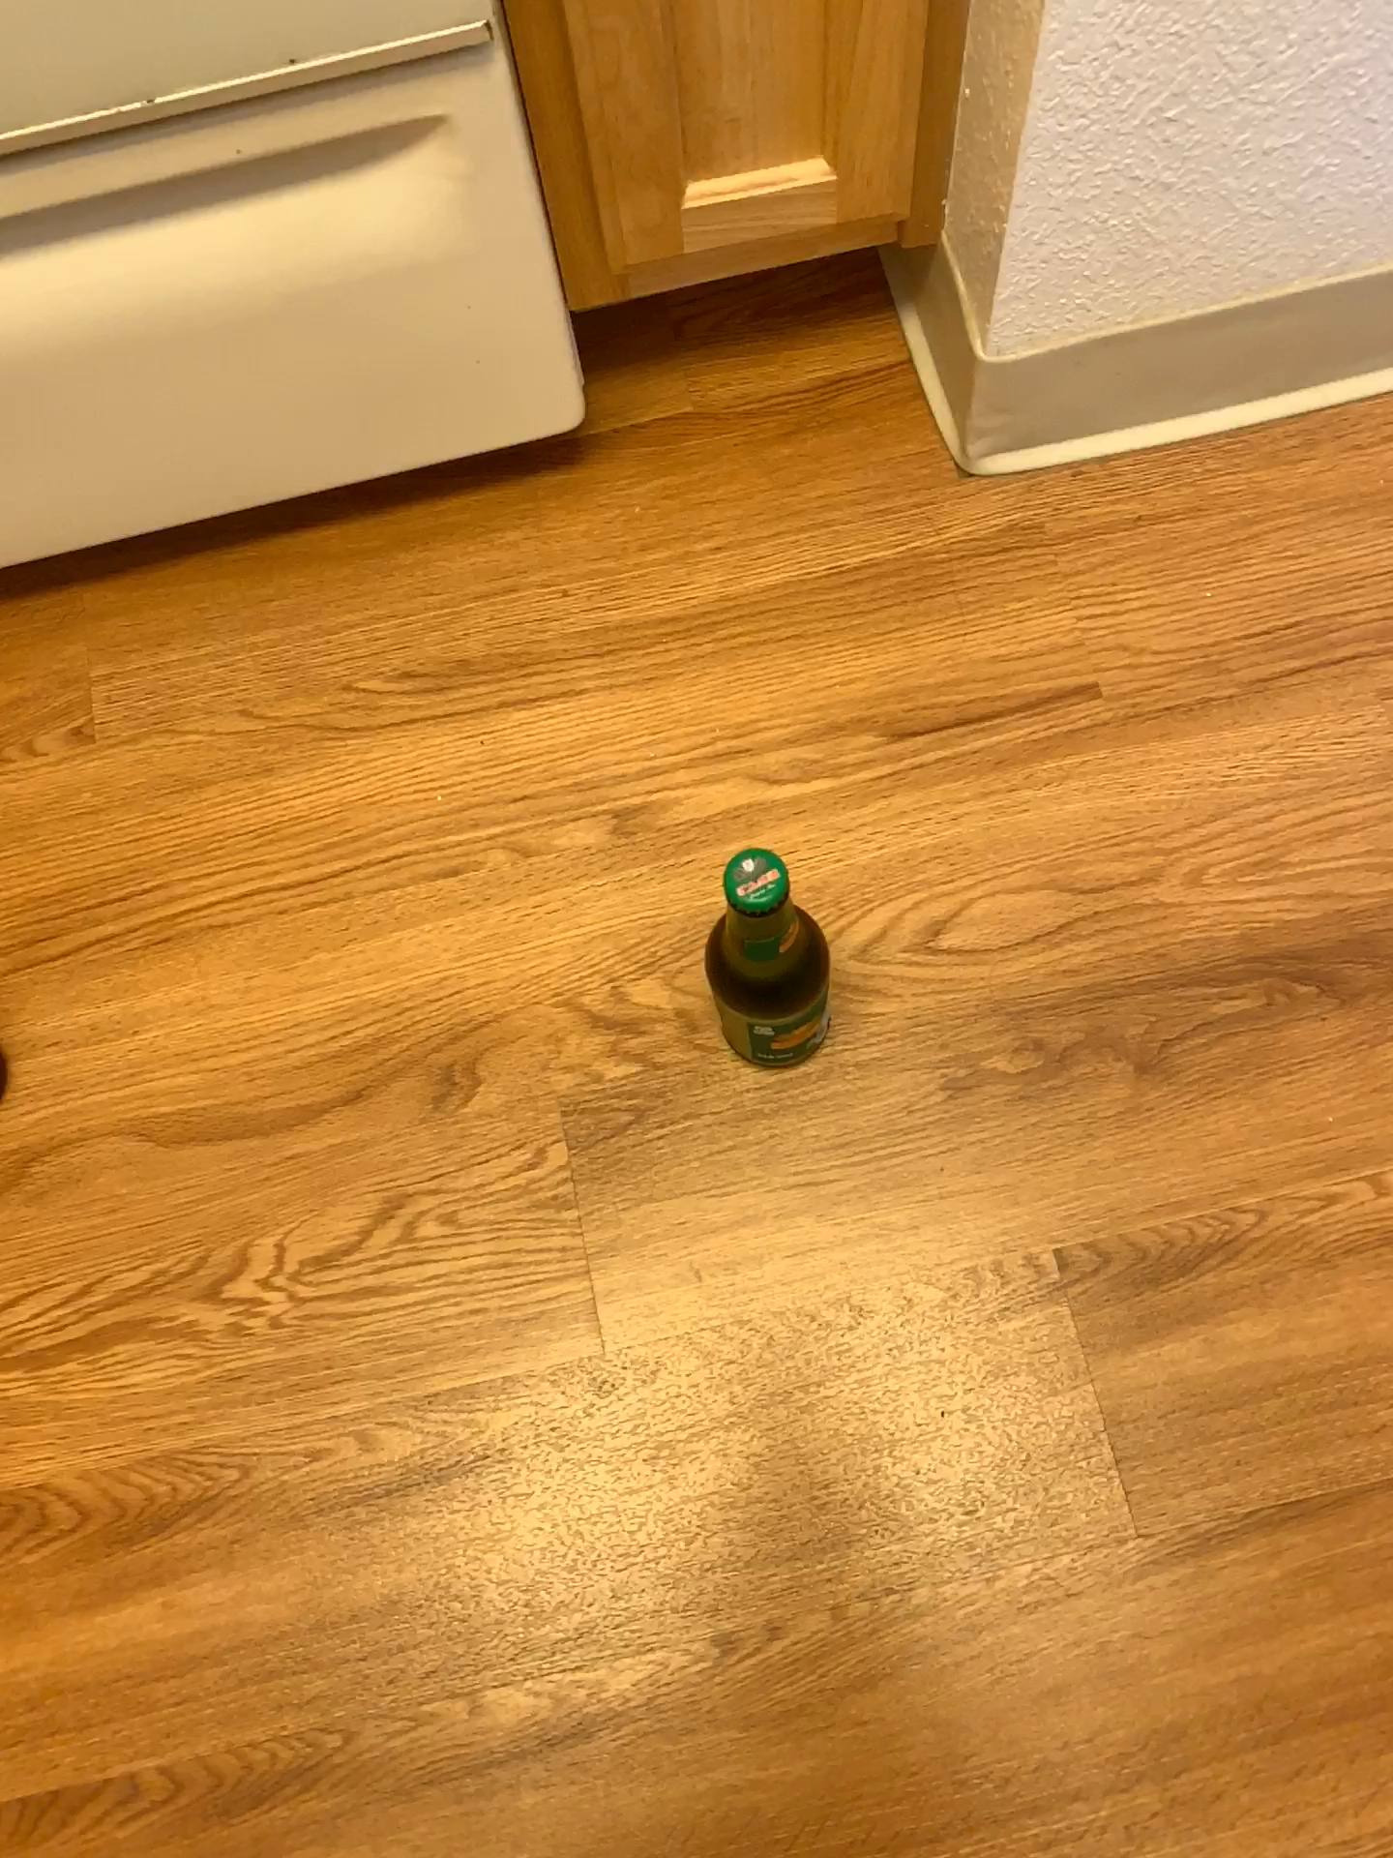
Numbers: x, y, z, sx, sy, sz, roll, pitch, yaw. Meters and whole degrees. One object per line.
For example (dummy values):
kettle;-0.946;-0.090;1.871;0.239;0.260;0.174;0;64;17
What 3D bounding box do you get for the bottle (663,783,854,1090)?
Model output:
bottle;0.034;0.014;0.680;0.050;0.230;0.060;-38;72;-8
